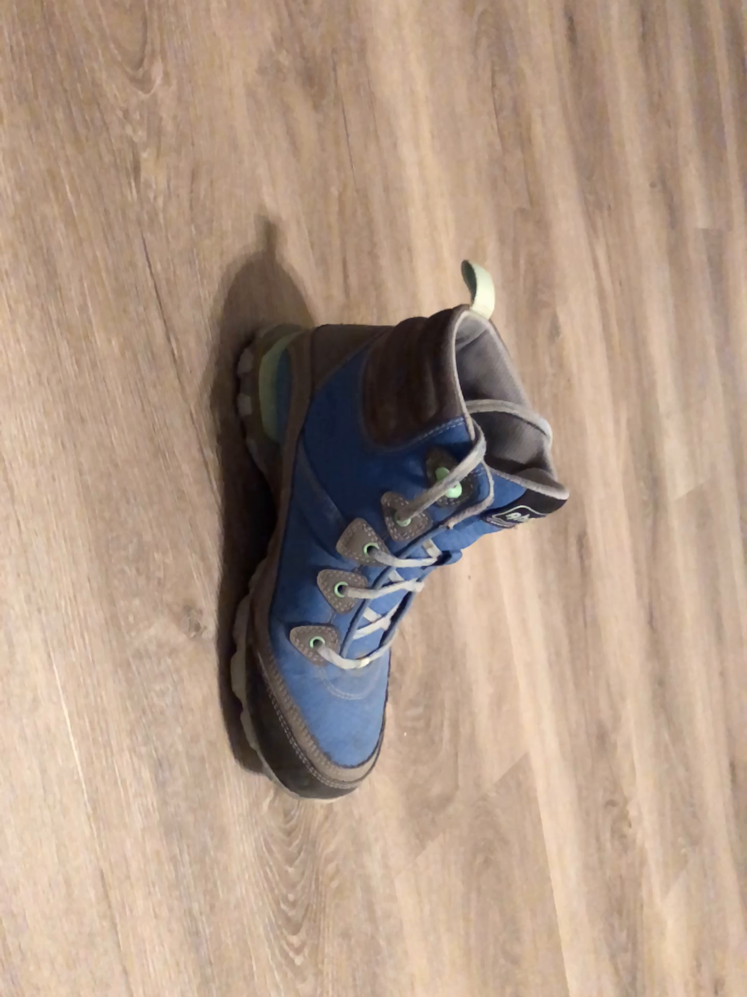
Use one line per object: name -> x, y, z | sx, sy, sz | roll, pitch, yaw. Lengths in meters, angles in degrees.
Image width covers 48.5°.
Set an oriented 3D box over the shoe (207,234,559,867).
shoe -> 0.002, 0.023, 0.411 | 0.101, 0.139, 0.250 | 3, 85, -50
